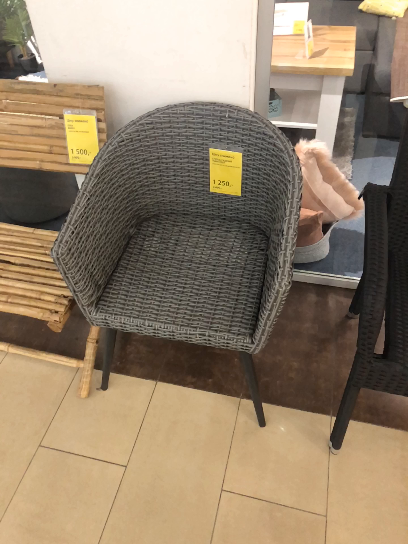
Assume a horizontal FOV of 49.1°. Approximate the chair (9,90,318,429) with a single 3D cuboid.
[{"bbox_3d":[-0.035,-0.026,1.271,0.570,0.737,0.522,8,46,12],"label":"chair"}]
